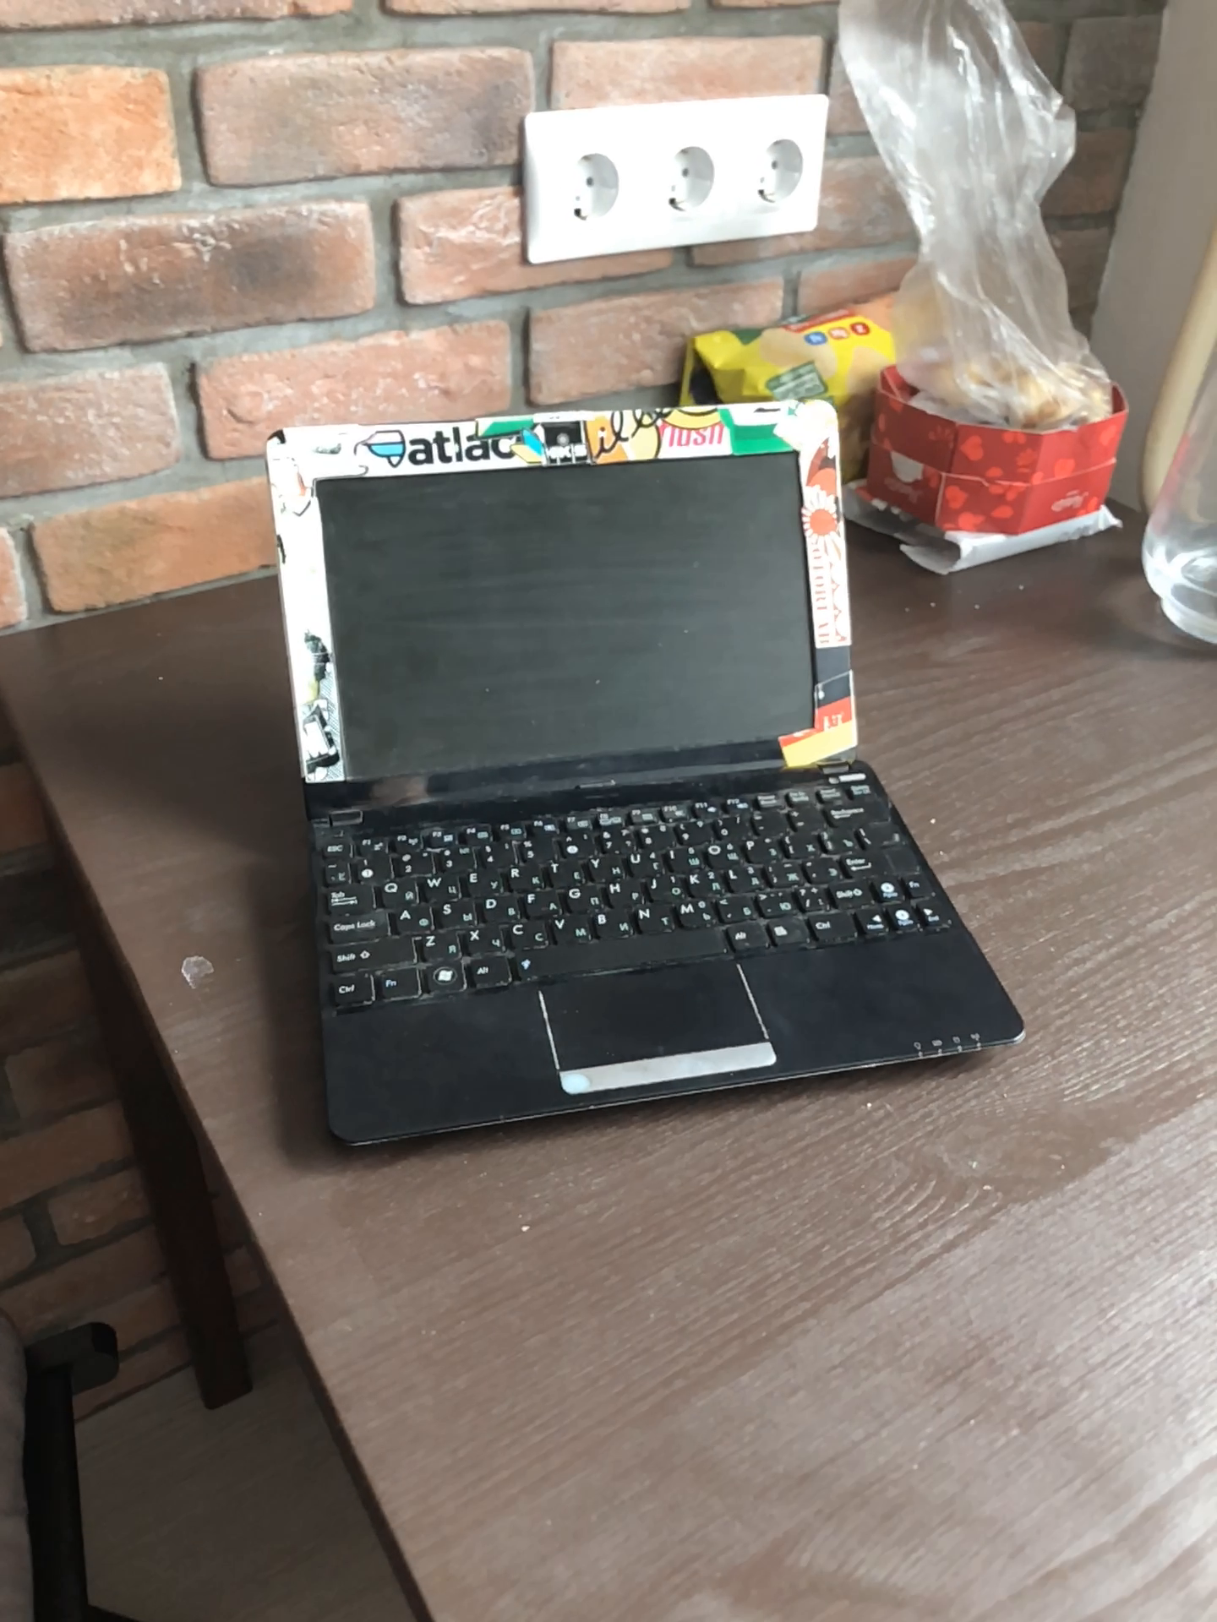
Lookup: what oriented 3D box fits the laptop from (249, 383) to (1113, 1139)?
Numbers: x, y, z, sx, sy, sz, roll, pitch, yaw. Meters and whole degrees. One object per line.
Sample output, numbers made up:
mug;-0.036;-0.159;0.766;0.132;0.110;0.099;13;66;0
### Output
laptop;0.002;-0.045;0.531;0.257;0.139;0.269;-6;37;-10
